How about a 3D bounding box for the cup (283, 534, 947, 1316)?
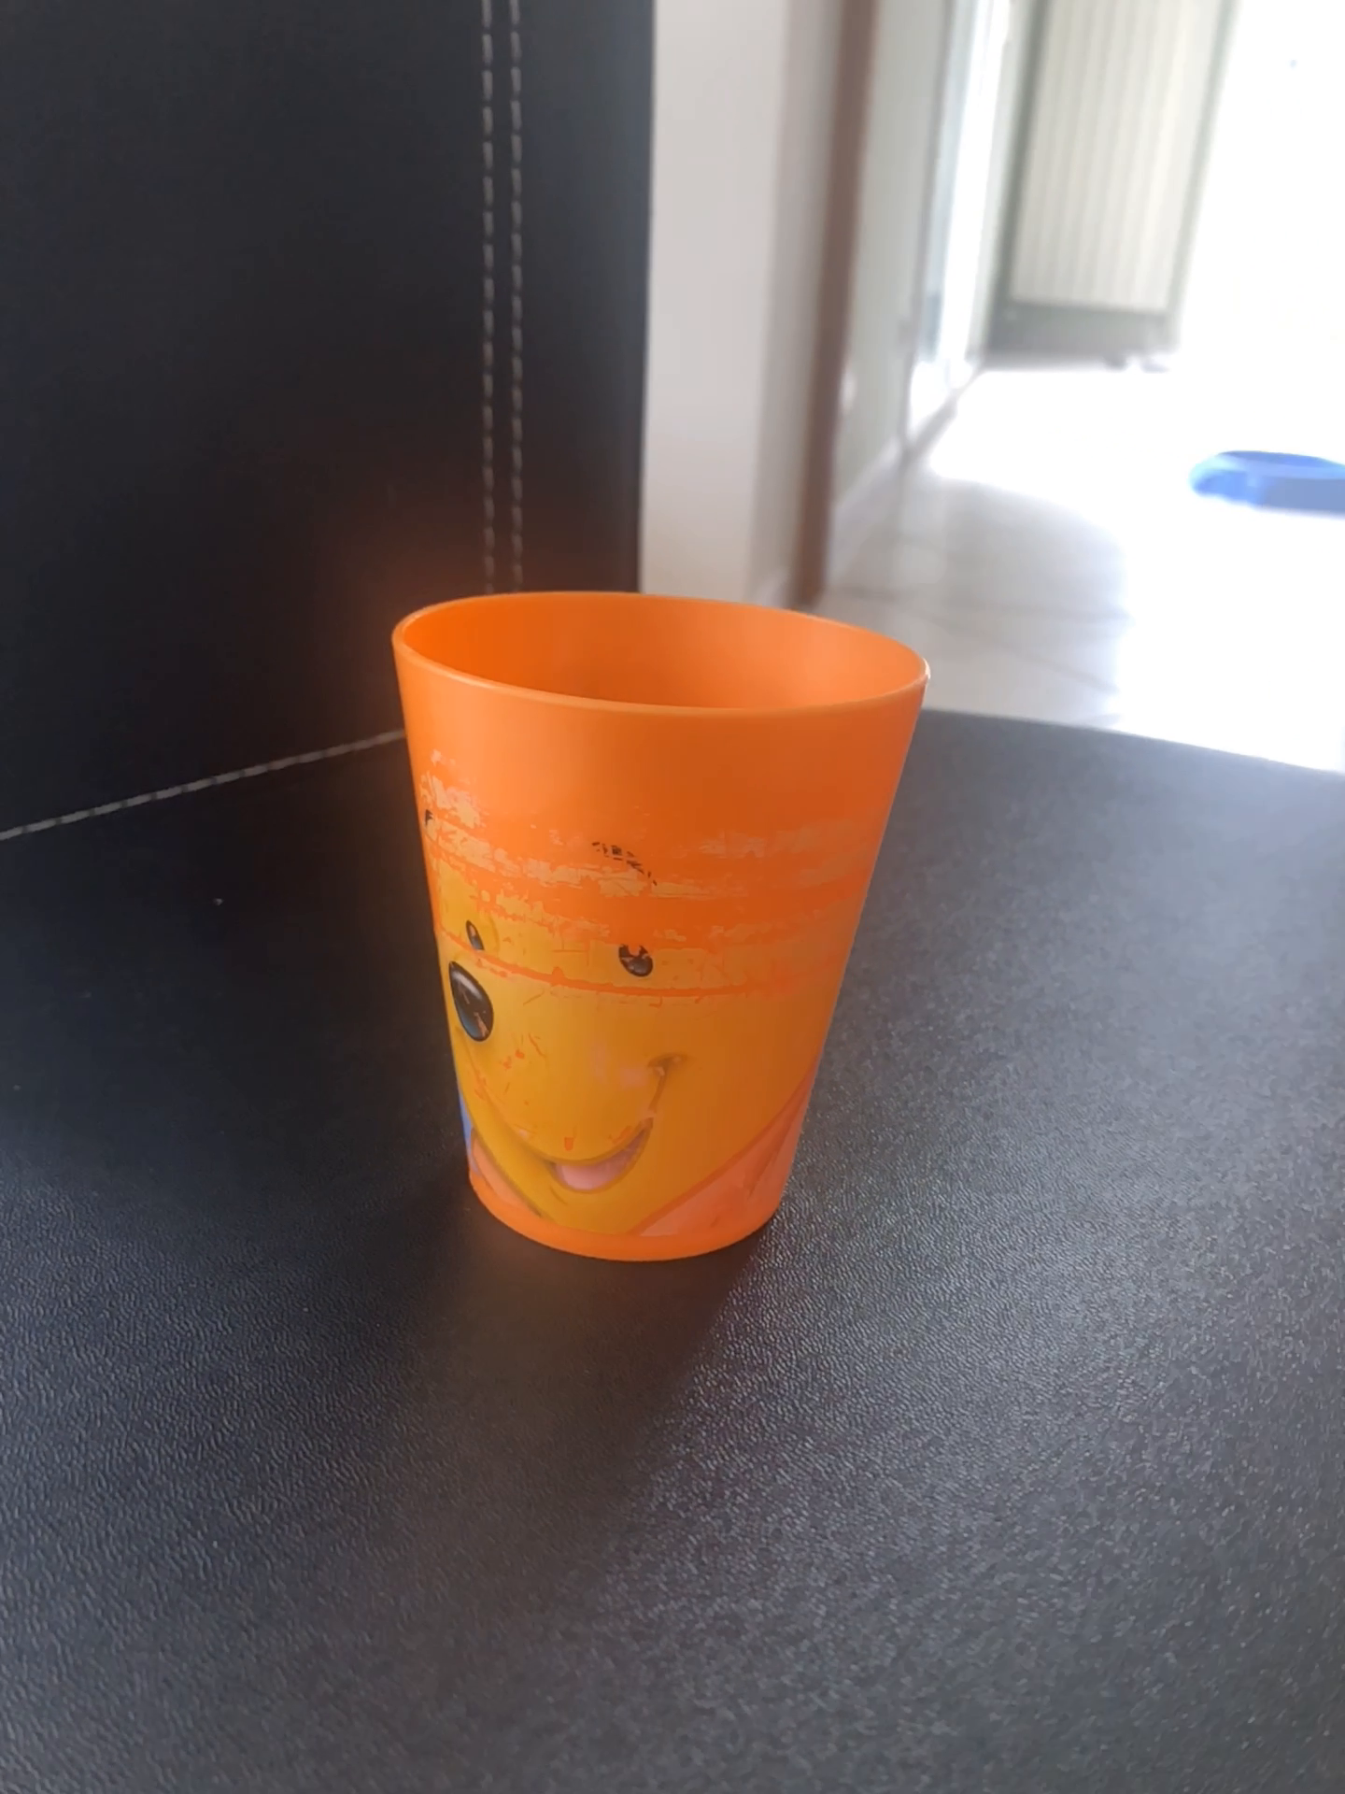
[{"bbox_3d":[-0.005,-0.002,0.241,0.080,0.090,0.080,3,24,-1],"label":"cup"}]
